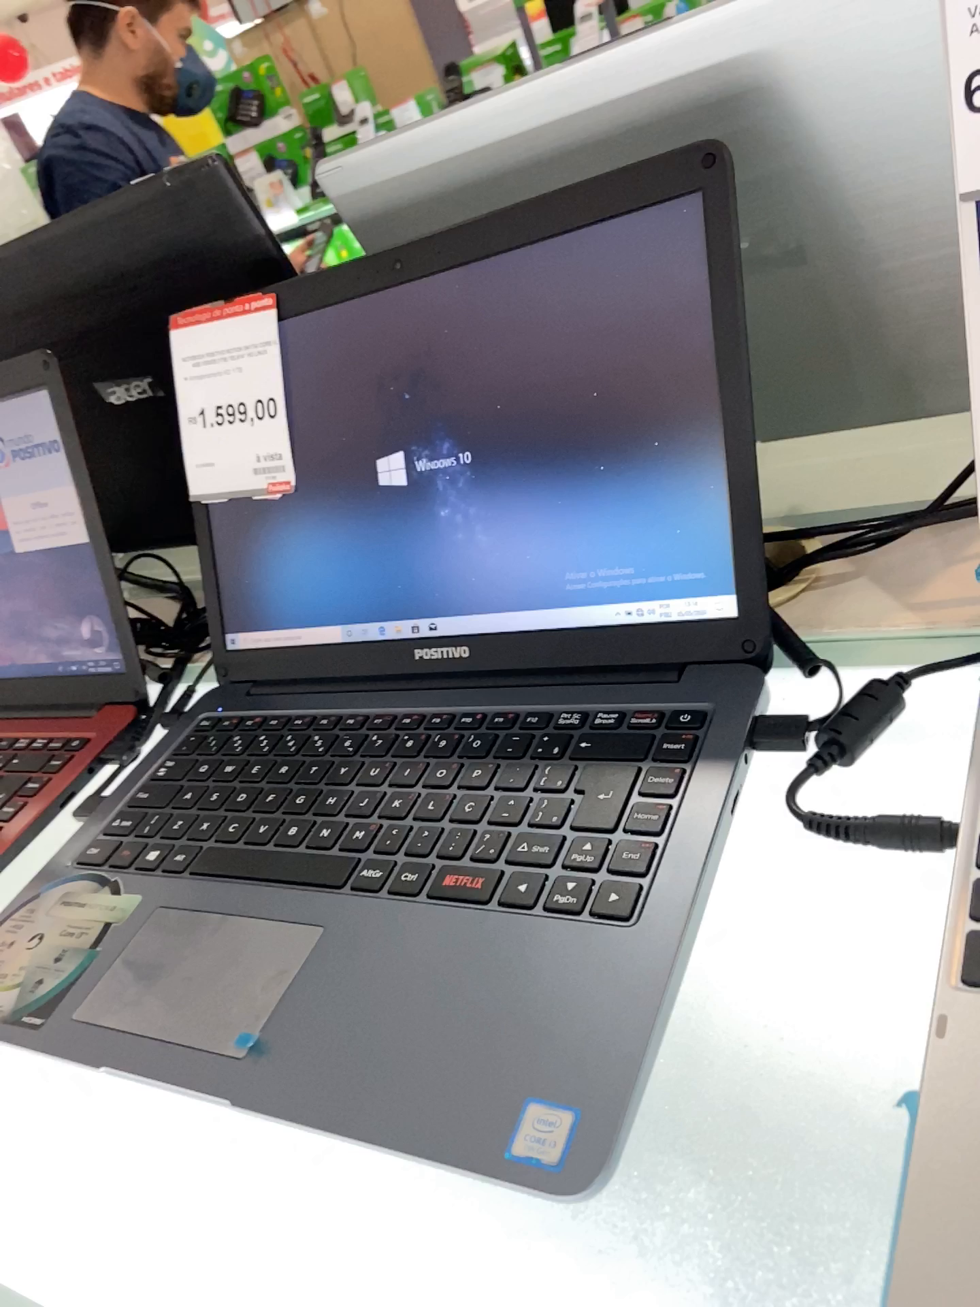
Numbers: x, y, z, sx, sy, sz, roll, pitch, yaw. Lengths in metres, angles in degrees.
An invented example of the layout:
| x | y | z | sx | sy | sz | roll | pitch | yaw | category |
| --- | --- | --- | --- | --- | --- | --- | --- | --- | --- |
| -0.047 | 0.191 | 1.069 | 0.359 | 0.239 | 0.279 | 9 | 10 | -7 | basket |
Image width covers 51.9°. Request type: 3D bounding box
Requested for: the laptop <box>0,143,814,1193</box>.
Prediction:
| x | y | z | sx | sy | sz | roll | pitch | yaw | category |
| --- | --- | --- | --- | --- | --- | --- | --- | --- | --- |
| -0.078 | -0.022 | 0.410 | 0.319 | 0.171 | 0.325 | -4 | 36 | 33 | laptop |
